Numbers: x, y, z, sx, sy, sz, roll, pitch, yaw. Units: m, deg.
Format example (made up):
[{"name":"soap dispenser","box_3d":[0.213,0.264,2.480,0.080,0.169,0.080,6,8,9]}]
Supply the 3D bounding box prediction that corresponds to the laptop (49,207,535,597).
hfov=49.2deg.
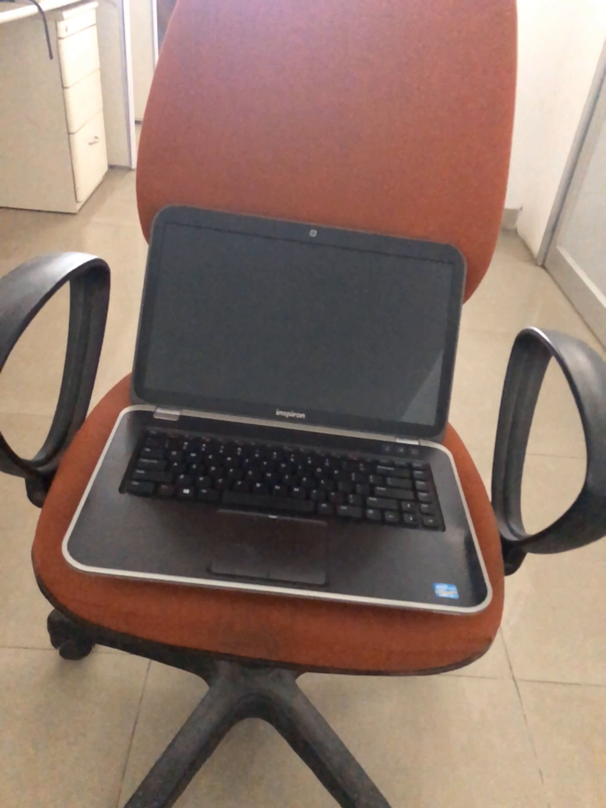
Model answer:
[{"name":"laptop","box_3d":[-0.010,-0.030,0.668,0.352,0.173,0.353,7,36,0]}]
